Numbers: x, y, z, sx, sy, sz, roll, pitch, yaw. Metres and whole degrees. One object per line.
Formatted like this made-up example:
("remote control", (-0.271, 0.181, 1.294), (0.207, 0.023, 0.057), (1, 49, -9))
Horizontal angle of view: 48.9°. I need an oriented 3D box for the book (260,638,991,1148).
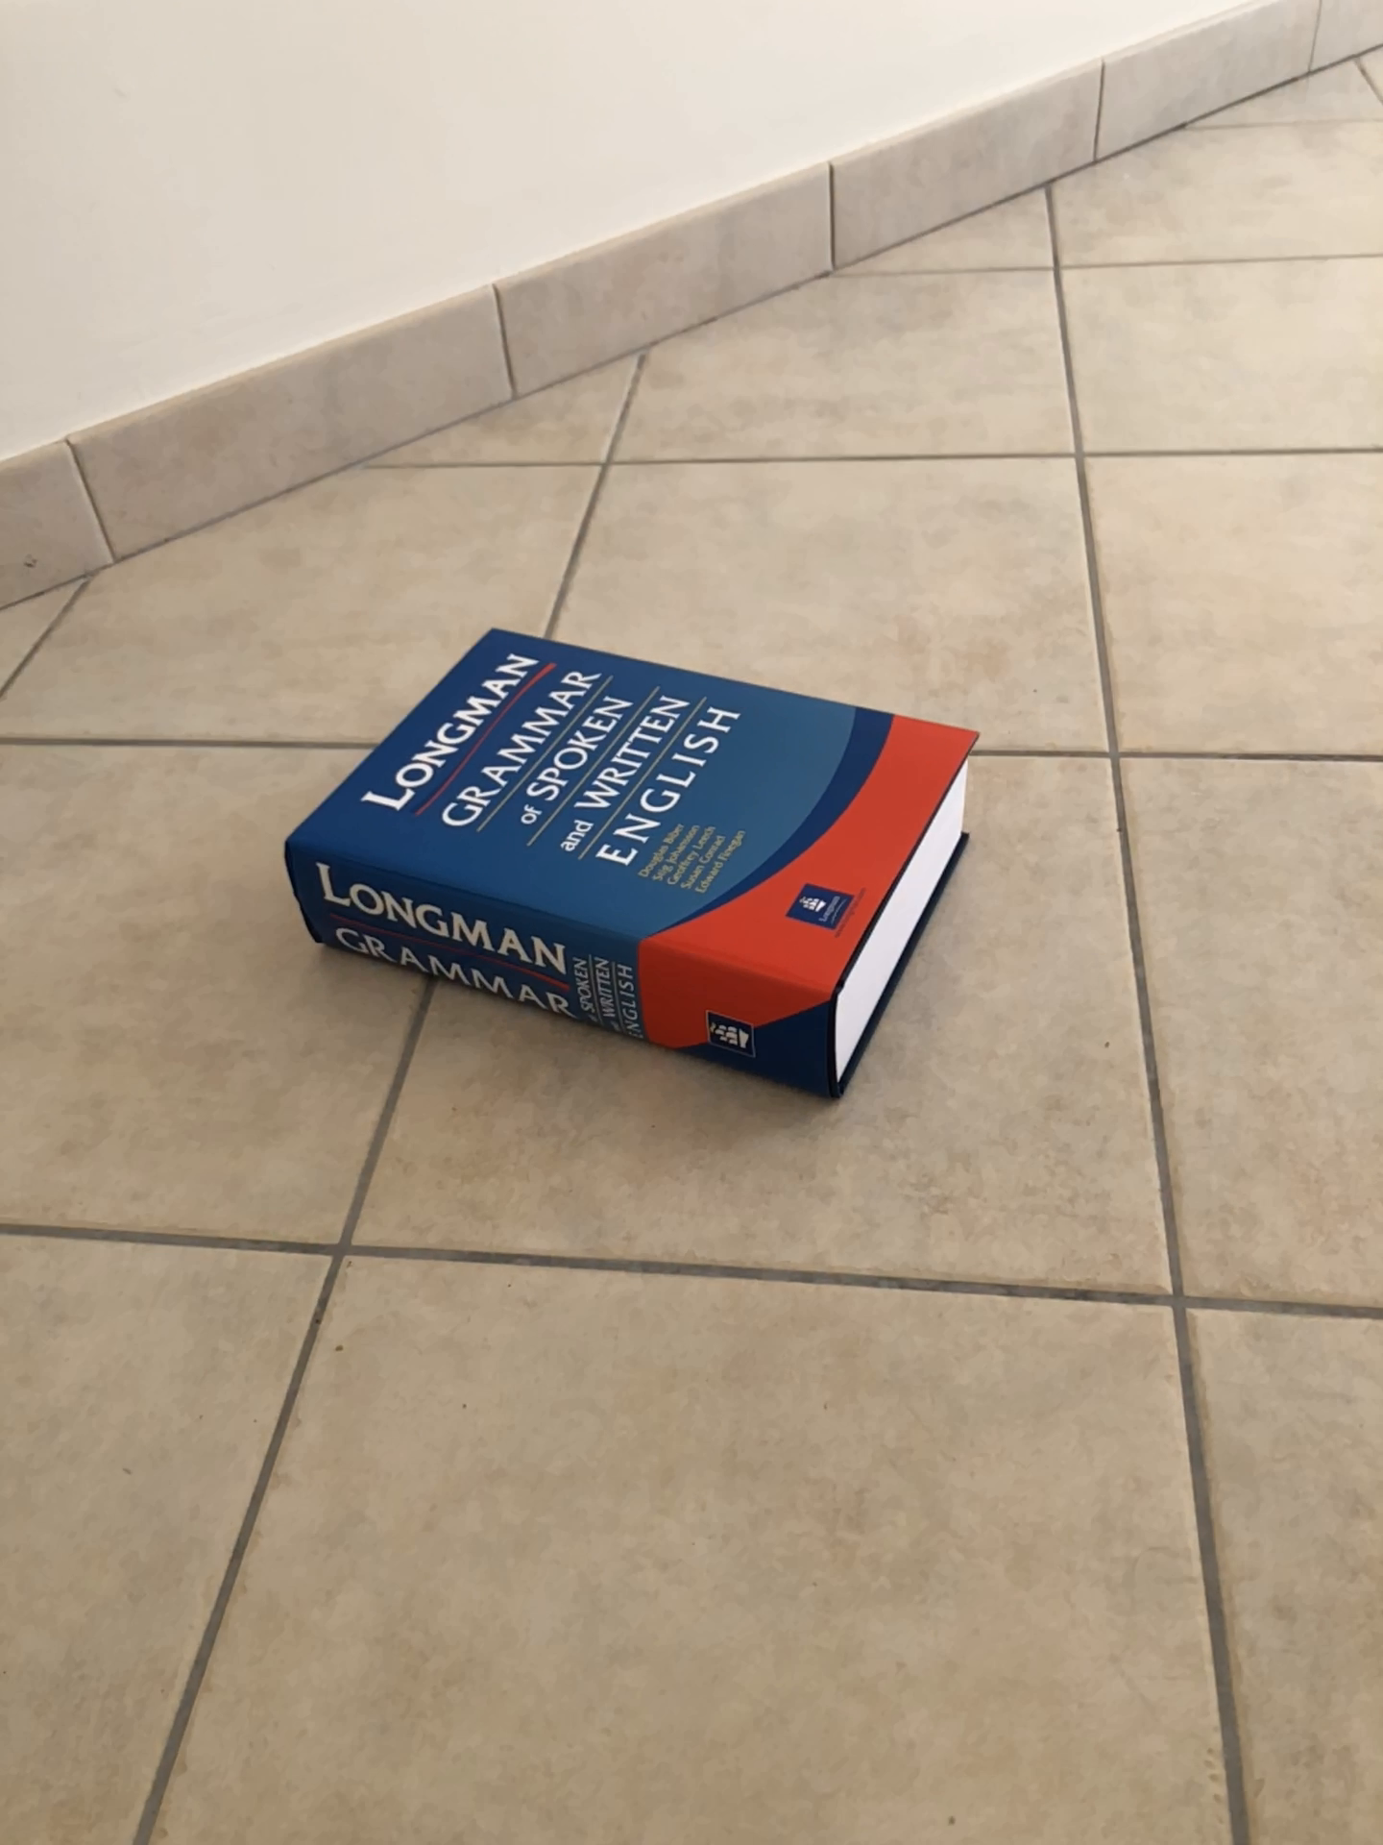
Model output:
("book", (-0.022, -0.026, 0.649), (0.250, 0.060, 0.178), (15, 48, 21))
